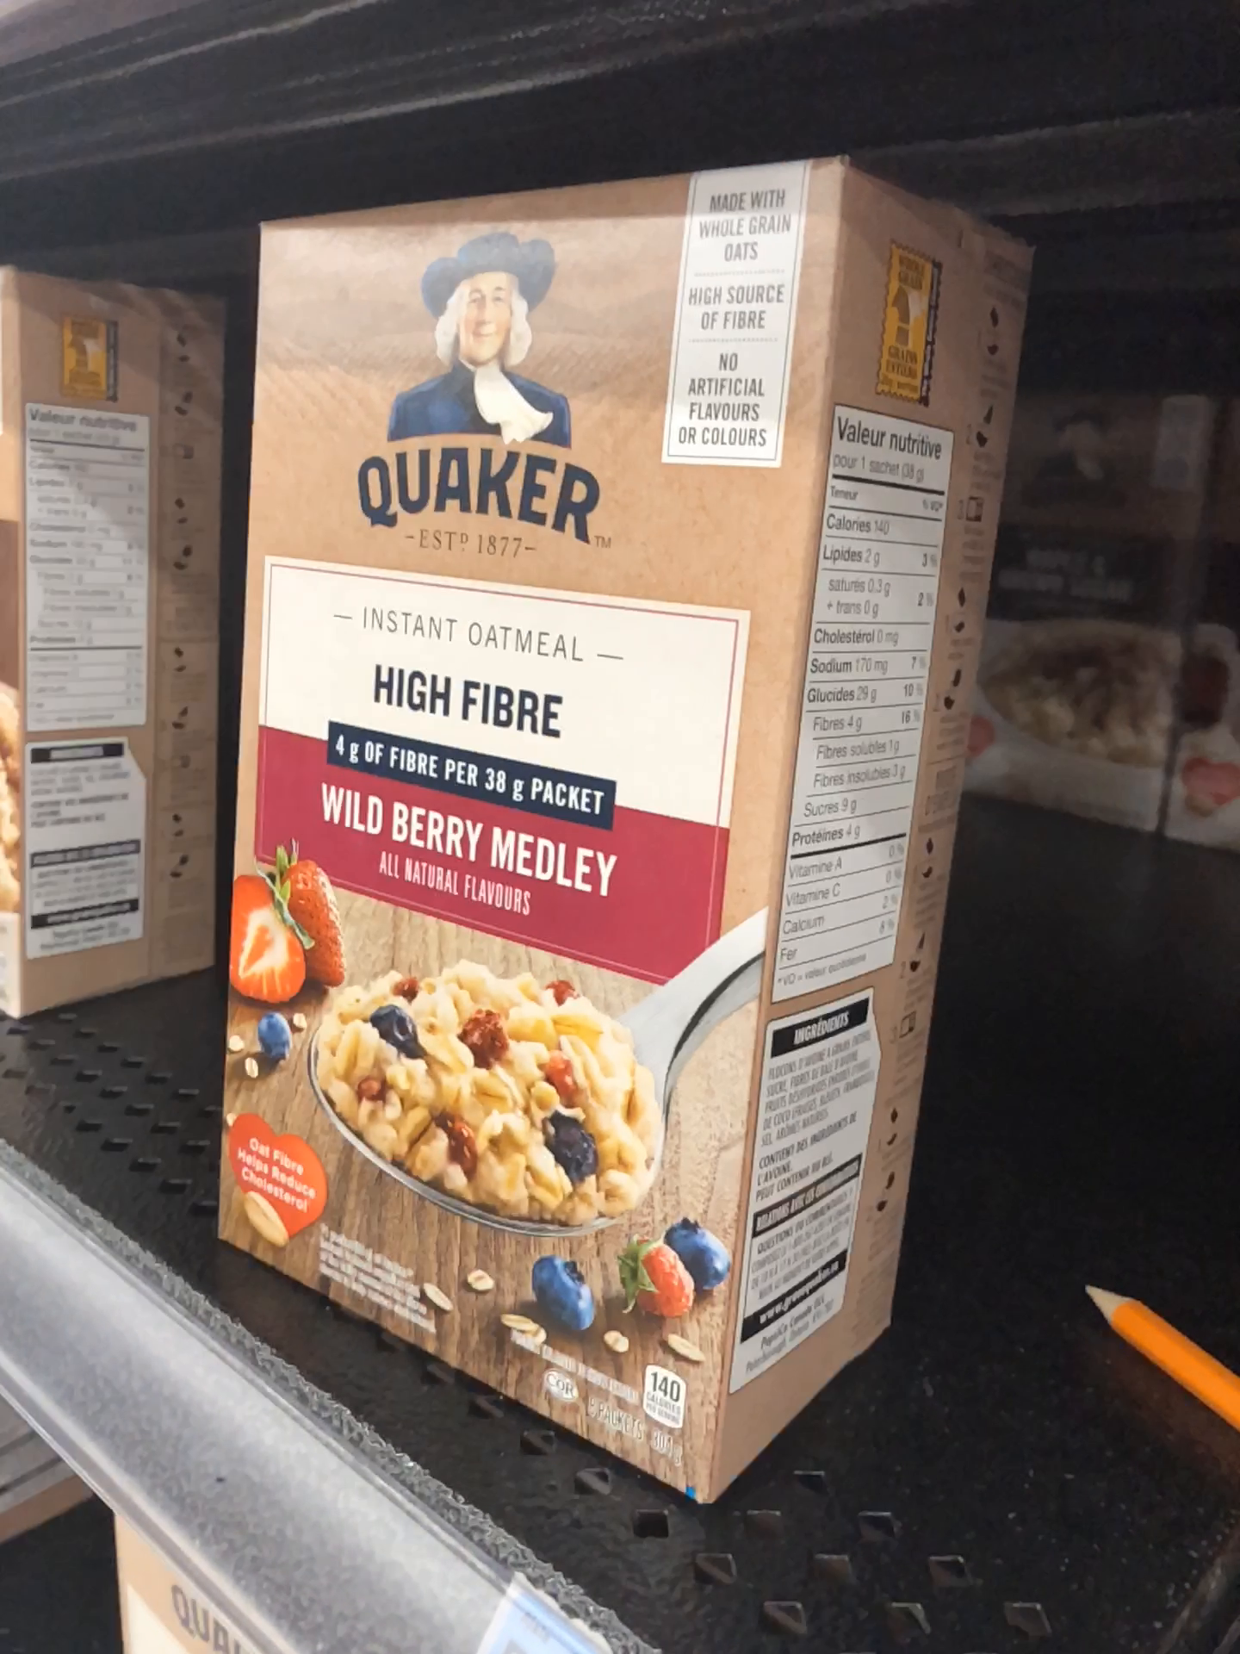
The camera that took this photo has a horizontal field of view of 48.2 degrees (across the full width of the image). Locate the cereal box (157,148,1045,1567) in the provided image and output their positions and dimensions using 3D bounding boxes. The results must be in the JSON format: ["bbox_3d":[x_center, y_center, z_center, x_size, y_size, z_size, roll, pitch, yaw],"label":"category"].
[{"bbox_3d":[-0.012,-0.002,0.254,0.130,0.200,0.070,13,14,34],"label":"cereal box"}]
